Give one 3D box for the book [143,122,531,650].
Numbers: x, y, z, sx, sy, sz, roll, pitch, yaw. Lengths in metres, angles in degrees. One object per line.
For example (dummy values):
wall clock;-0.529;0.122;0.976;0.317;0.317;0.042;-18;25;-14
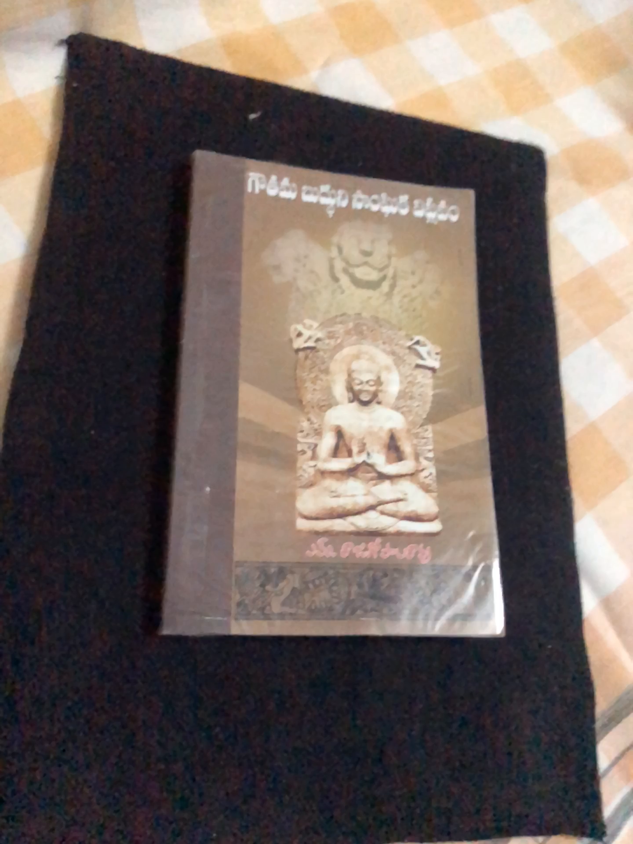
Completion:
book;0.012;-0.021;0.314;0.150;0.020;0.230;6;68;-15
